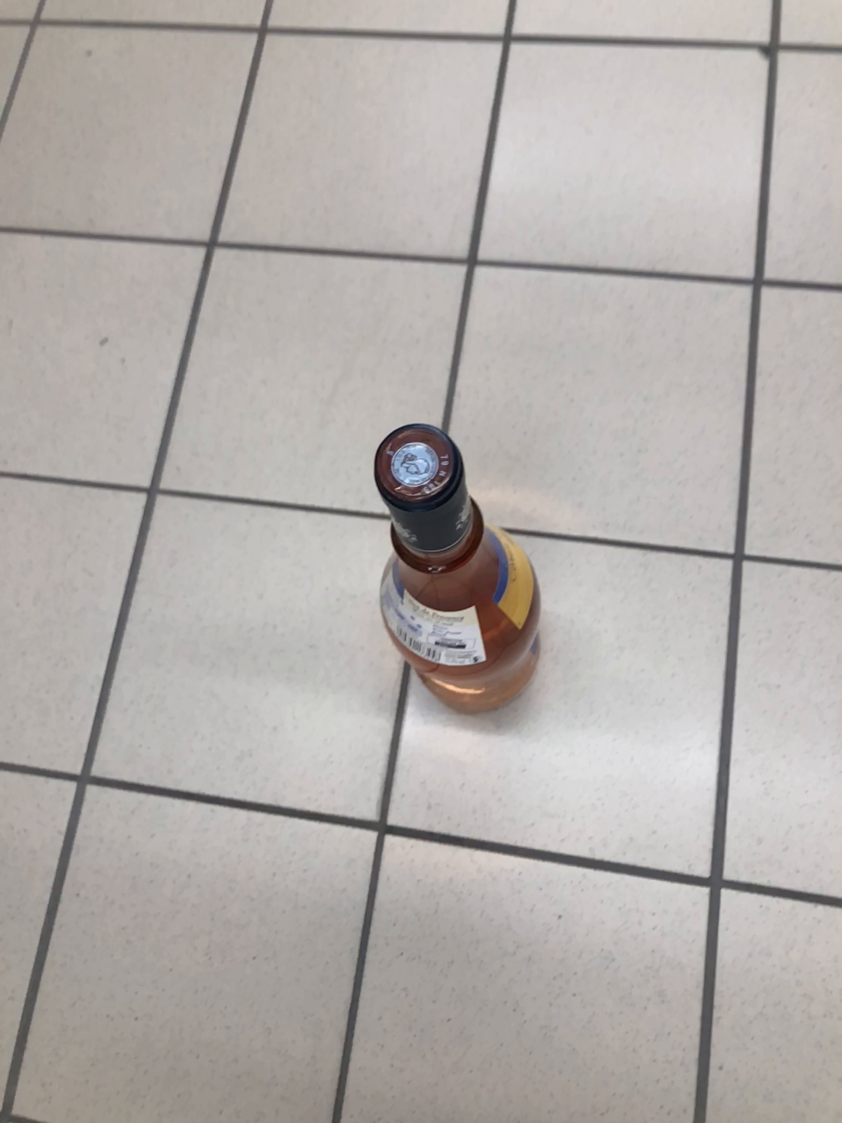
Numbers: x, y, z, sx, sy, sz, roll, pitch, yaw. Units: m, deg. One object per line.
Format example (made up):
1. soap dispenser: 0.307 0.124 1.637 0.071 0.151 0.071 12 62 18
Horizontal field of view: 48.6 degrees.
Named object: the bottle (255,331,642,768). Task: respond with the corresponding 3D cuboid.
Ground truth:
1. bottle: 0.026 0.026 0.441 0.090 0.319 0.080 36 81 15
